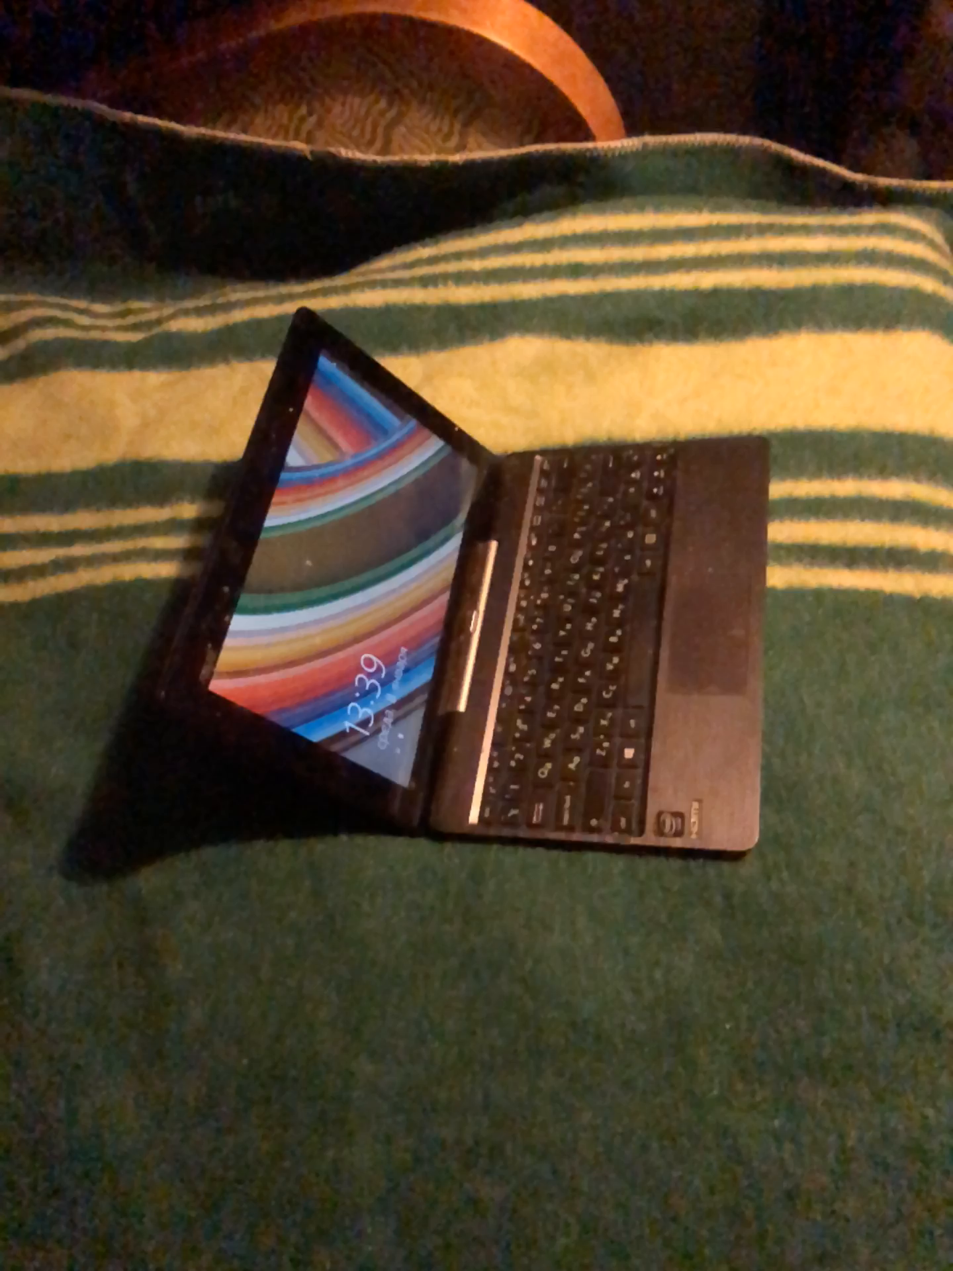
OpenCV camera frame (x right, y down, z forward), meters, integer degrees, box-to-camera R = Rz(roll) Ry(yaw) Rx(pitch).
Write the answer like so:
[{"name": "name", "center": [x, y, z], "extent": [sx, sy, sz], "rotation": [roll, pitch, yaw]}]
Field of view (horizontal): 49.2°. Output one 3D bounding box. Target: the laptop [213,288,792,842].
[{"name": "laptop", "center": [0.026, -0.041, 0.562], "extent": [0.257, 0.116, 0.258], "rotation": [1, 58, 16]}]
